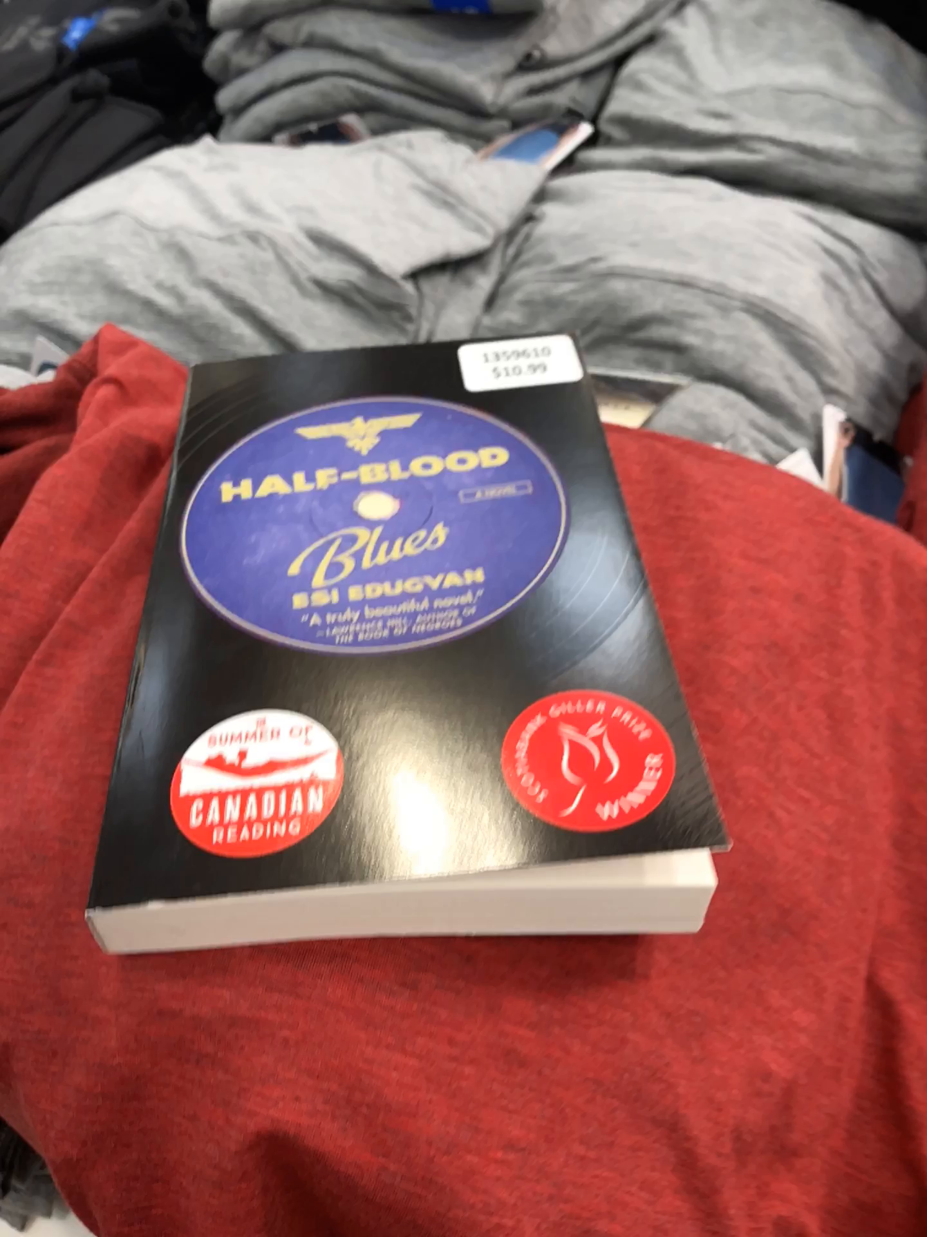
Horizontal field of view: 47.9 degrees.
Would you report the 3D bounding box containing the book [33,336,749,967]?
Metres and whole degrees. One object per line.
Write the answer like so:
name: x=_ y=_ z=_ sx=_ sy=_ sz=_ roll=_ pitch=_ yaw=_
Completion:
book: x=-0.021 y=-0.013 z=0.300 sx=0.146 sy=0.025 sz=0.221 roll=-1 pitch=45 yaw=-4
